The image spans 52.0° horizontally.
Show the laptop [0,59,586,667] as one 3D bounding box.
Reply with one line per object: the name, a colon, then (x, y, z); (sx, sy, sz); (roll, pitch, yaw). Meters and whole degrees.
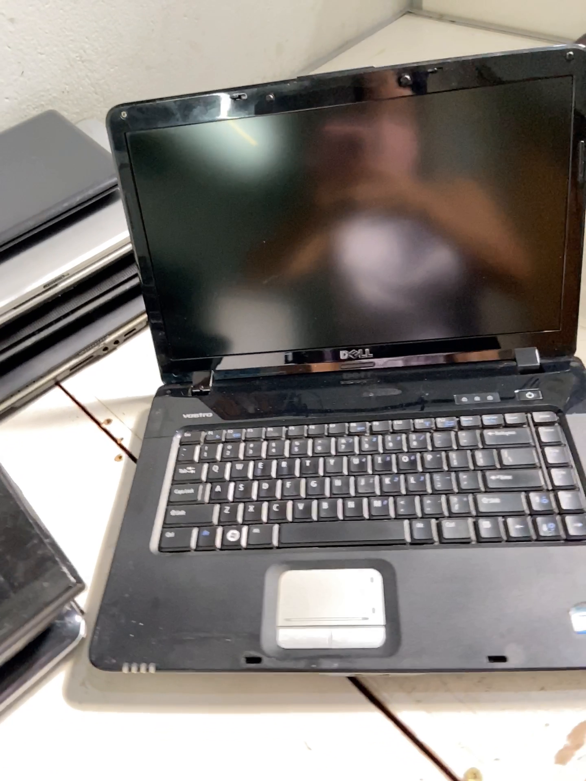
laptop: (0.040, -0.028, 0.417); (0.364, 0.203, 0.354); (-4, 48, 8)
